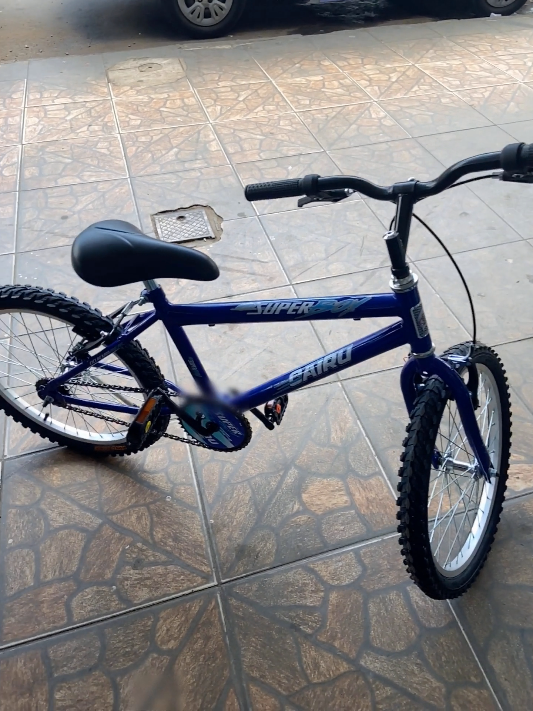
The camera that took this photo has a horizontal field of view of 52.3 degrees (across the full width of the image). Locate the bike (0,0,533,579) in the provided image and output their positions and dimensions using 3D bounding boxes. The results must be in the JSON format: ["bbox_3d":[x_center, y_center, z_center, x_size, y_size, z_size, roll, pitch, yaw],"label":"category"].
[{"bbox_3d":[-0.134,-0.081,1.012,1.181,0.949,0.546,3,48,6],"label":"bike"}]
